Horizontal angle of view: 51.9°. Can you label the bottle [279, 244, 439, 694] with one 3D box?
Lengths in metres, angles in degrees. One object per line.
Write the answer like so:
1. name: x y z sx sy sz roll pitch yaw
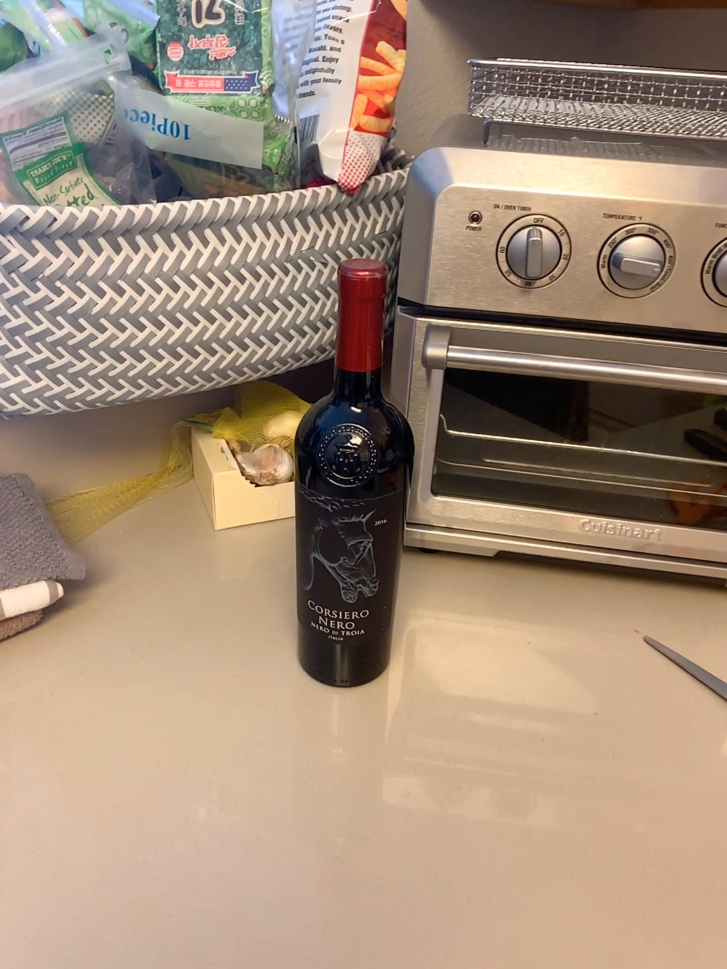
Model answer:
1. bottle: -0.006 0.001 0.473 0.080 0.278 0.070 5 30 4
